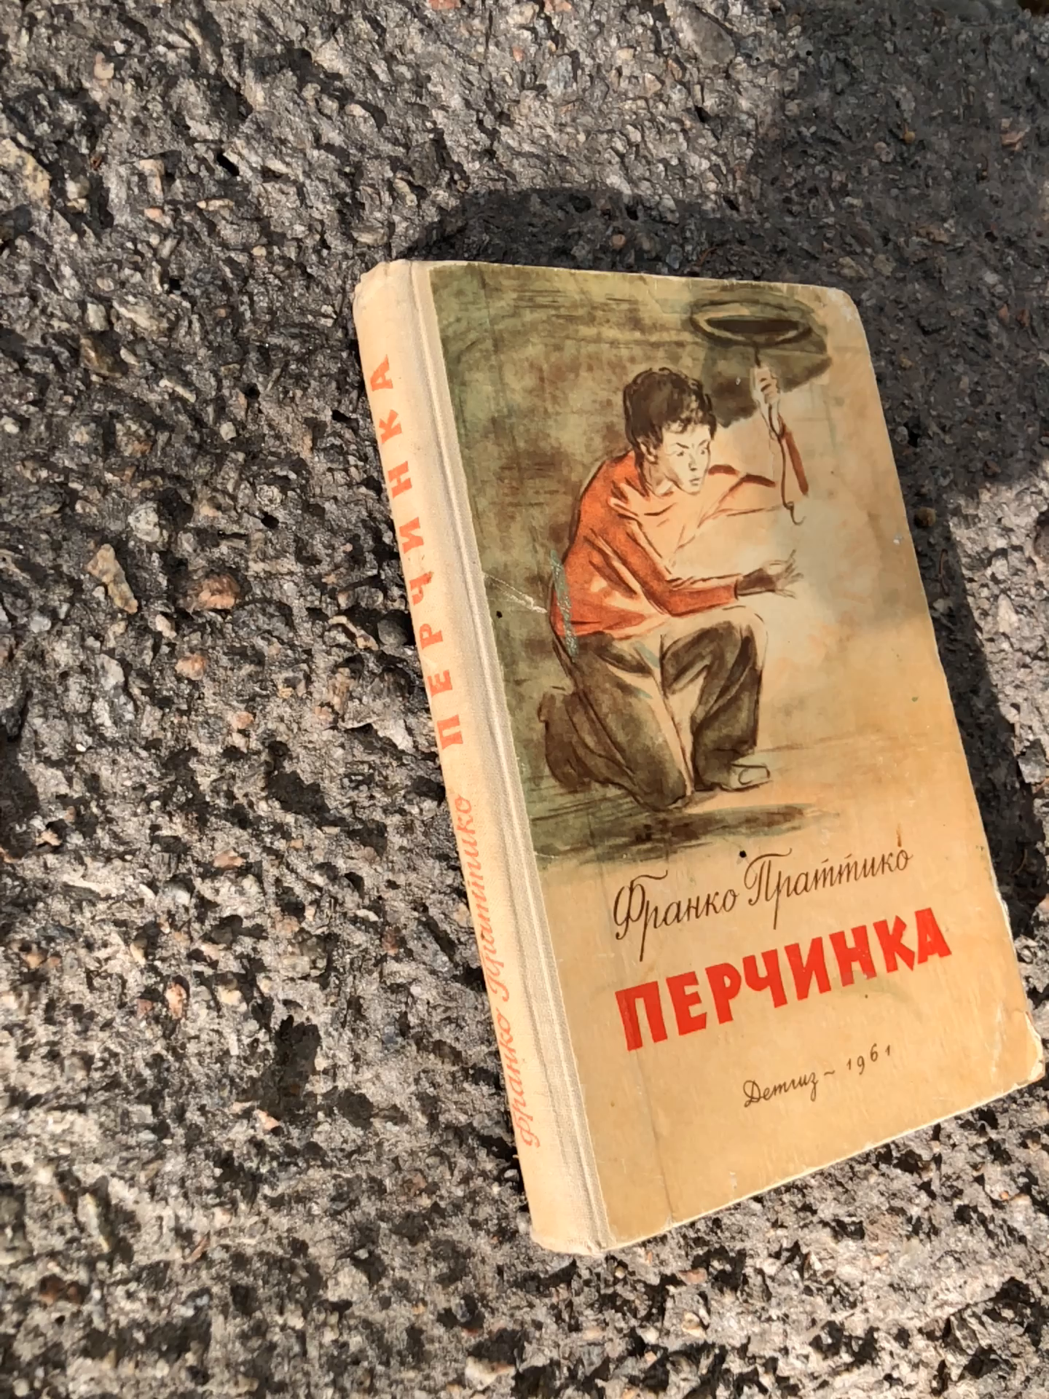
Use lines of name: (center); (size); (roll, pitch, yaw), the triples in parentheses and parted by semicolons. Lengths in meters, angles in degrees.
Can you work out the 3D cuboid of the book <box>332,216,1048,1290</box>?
book: (0.040, 0.001, 0.263); (0.132, 0.030, 0.203); (-6, 82, -30)
